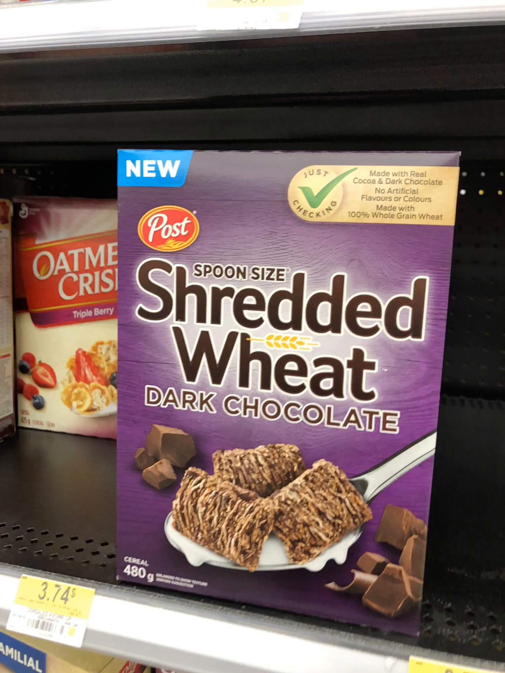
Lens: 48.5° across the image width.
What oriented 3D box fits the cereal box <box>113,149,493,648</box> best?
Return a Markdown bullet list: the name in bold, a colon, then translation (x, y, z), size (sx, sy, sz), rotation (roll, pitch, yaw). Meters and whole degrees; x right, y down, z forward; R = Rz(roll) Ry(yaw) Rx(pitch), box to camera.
- **cereal box**: translation (0.022, 0.030, 0.344), size (0.200, 0.269, 0.060), rotation (4, 10, 13)
